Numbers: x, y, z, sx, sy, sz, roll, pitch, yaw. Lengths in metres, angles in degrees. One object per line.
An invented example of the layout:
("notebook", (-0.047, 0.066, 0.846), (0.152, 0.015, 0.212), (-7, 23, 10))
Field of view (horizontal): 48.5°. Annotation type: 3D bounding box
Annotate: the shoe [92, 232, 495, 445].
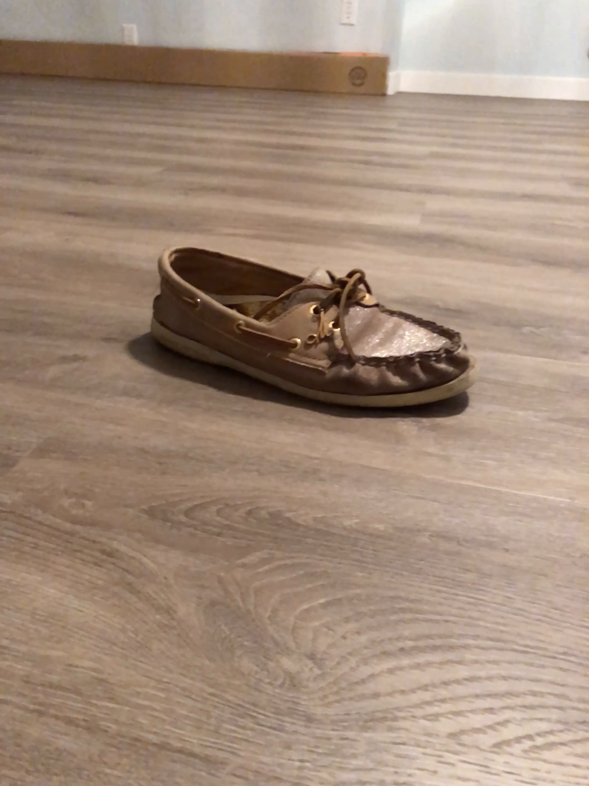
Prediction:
("shoe", (-0.003, -0.049, 0.452), (0.250, 0.070, 0.100), (14, 30, 21))
